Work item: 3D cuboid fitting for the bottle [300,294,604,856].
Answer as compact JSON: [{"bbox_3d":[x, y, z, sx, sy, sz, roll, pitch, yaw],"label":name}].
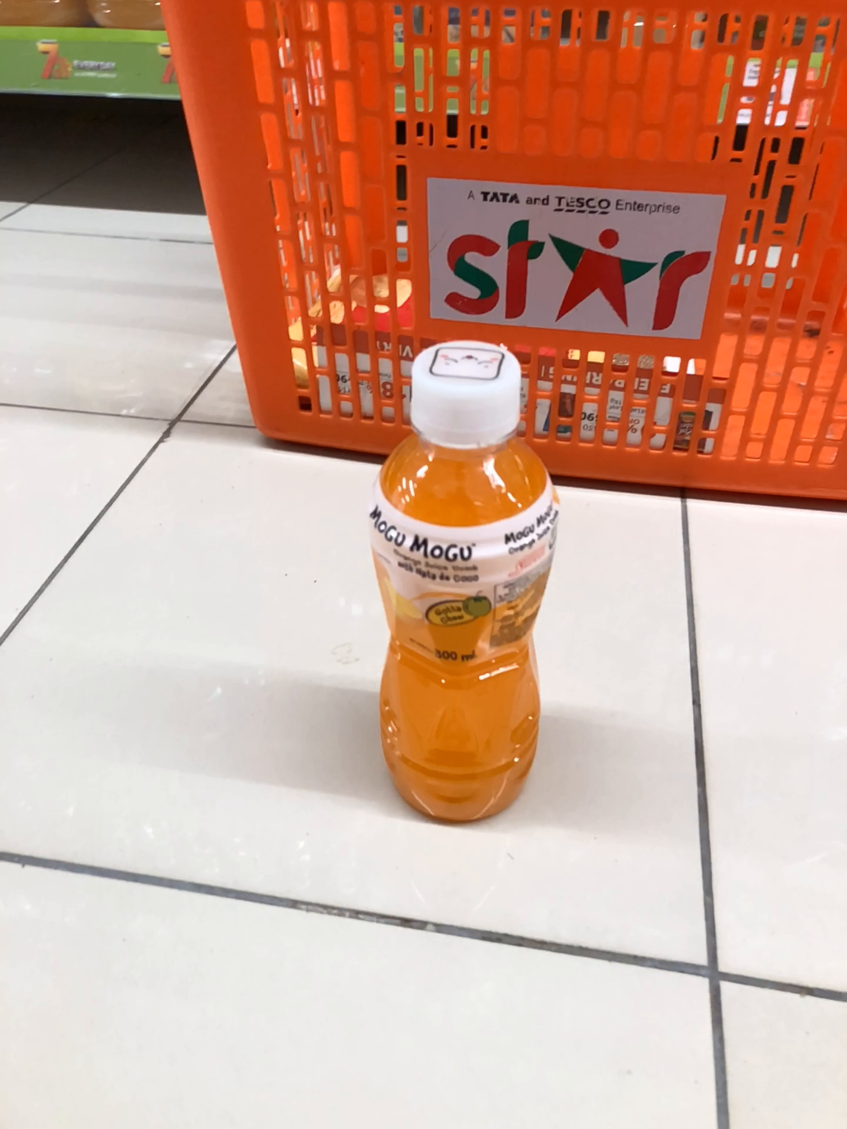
[{"bbox_3d":[0.011,0.008,0.294,0.060,0.159,0.066,-1,38,1],"label":"bottle"}]
